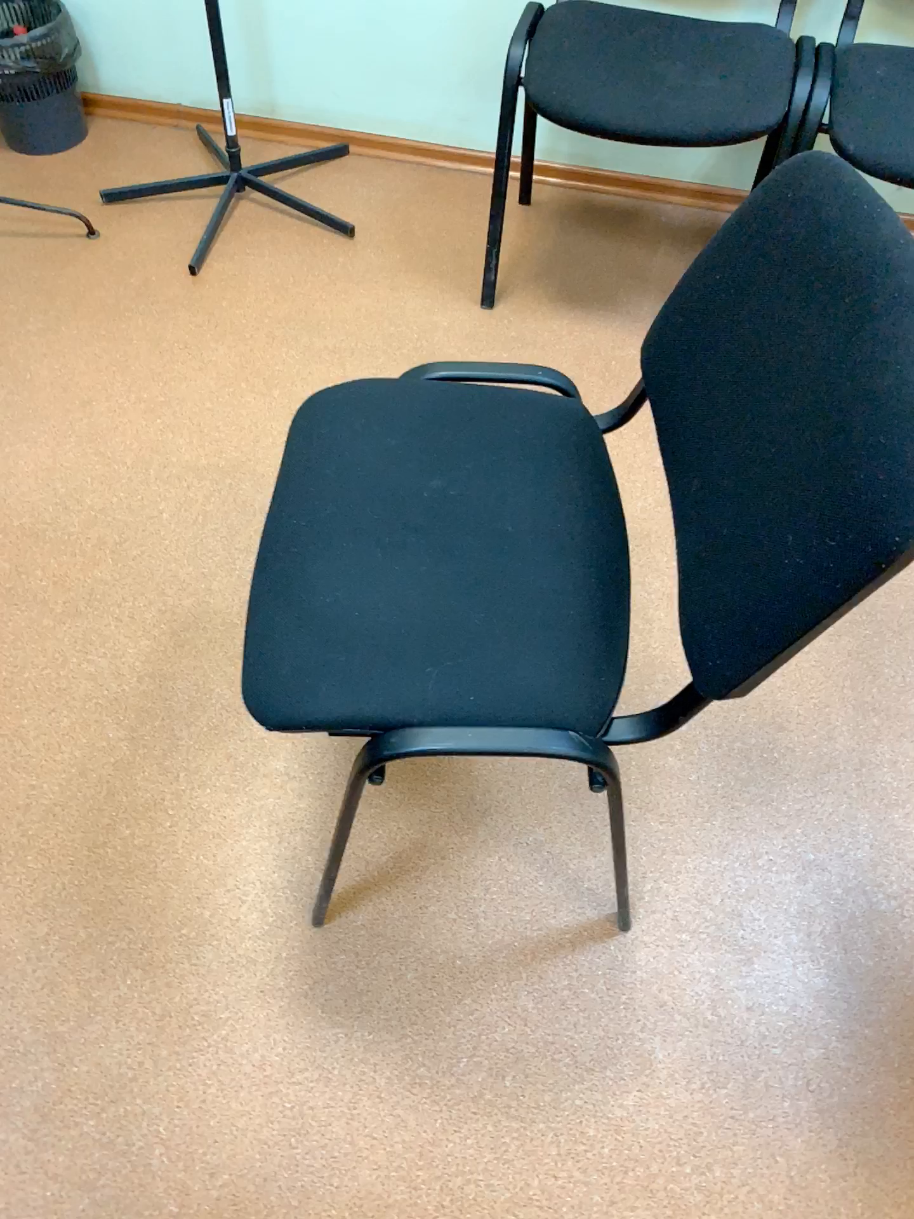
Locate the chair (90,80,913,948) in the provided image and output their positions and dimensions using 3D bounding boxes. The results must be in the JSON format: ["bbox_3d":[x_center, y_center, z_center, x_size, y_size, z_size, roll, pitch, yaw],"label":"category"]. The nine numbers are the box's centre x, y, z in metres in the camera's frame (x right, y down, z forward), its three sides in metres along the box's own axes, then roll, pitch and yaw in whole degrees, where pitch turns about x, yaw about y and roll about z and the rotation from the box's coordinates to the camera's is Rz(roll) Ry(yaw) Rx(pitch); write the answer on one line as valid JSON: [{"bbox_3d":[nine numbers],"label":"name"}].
[{"bbox_3d":[0.077,-0.042,1.055,0.590,0.784,0.578,3,54,1],"label":"chair"}]
